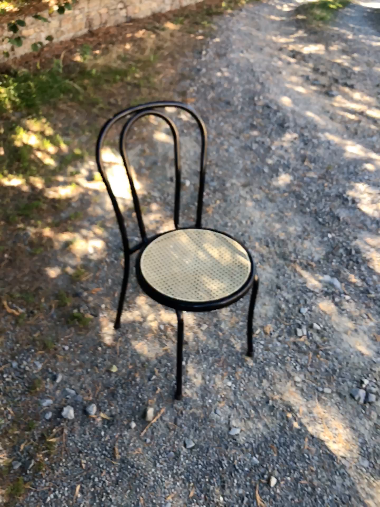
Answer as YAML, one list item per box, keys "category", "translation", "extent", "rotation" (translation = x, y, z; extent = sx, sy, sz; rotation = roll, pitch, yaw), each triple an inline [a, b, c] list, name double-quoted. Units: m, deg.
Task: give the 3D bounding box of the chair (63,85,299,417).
- category: "chair"
  translation: [-0.039, -0.002, 1.377]
  extent: [0.432, 0.875, 0.471]
  rotation: [-23, 44, -27]
